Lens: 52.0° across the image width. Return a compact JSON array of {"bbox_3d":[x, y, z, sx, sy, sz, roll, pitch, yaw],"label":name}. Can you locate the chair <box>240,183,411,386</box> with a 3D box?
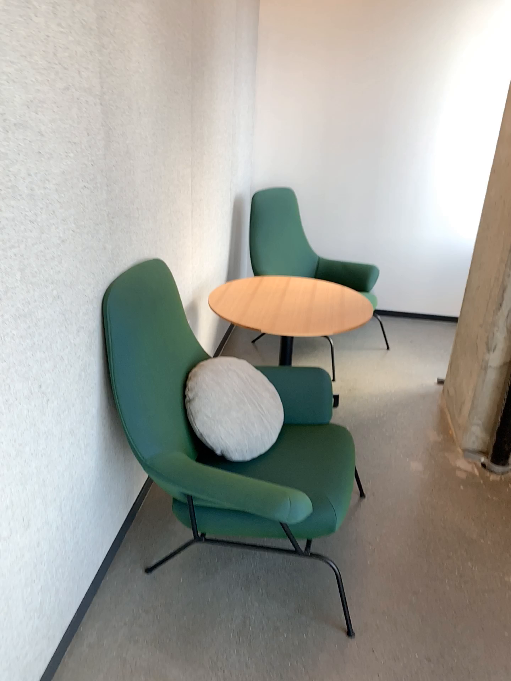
[{"bbox_3d":[0.406,-0.400,3.291,0.752,1.014,0.652,21,29,37],"label":"chair"}]

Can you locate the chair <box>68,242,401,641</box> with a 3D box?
[{"bbox_3d":[-0.009,0.267,1.798,0.841,0.994,0.724,7,24,11],"label":"chair"}]
